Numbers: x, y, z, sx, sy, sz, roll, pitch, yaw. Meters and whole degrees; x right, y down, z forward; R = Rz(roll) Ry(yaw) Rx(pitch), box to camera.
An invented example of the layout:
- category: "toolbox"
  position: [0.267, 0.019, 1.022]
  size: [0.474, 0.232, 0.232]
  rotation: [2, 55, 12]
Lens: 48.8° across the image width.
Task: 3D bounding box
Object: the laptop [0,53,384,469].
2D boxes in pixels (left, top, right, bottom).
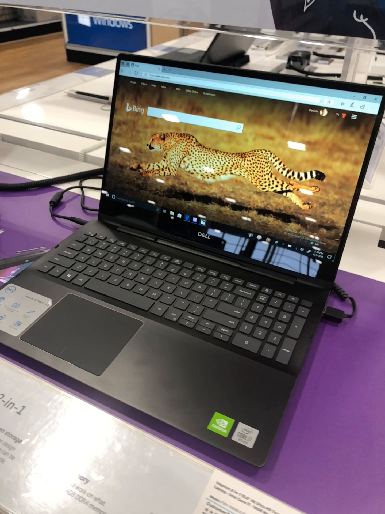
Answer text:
- category: "laptop"
  position: [-0.027, -0.054, 0.446]
  size: [0.341, 0.207, 0.325]
  rotation: [17, 39, 21]
